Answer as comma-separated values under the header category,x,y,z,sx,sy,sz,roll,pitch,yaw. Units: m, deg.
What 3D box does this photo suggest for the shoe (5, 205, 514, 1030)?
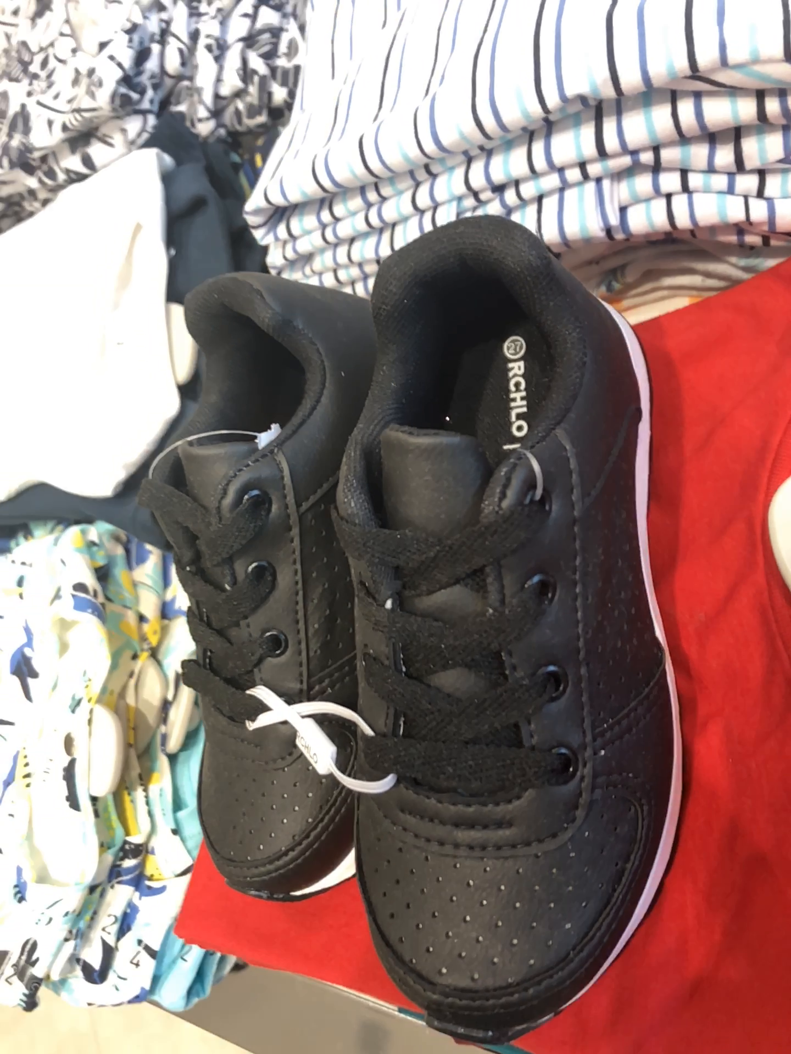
category,x,y,z,sx,sy,sz,roll,pitch,yaw
shoe,-0.030,0.020,0.246,0.080,0.080,0.180,3,79,32

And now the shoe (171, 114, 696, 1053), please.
category,x,y,z,sx,sy,sz,roll,pitch,yaw
shoe,0.022,0.020,0.211,0.080,0.086,0.190,-2,74,28
